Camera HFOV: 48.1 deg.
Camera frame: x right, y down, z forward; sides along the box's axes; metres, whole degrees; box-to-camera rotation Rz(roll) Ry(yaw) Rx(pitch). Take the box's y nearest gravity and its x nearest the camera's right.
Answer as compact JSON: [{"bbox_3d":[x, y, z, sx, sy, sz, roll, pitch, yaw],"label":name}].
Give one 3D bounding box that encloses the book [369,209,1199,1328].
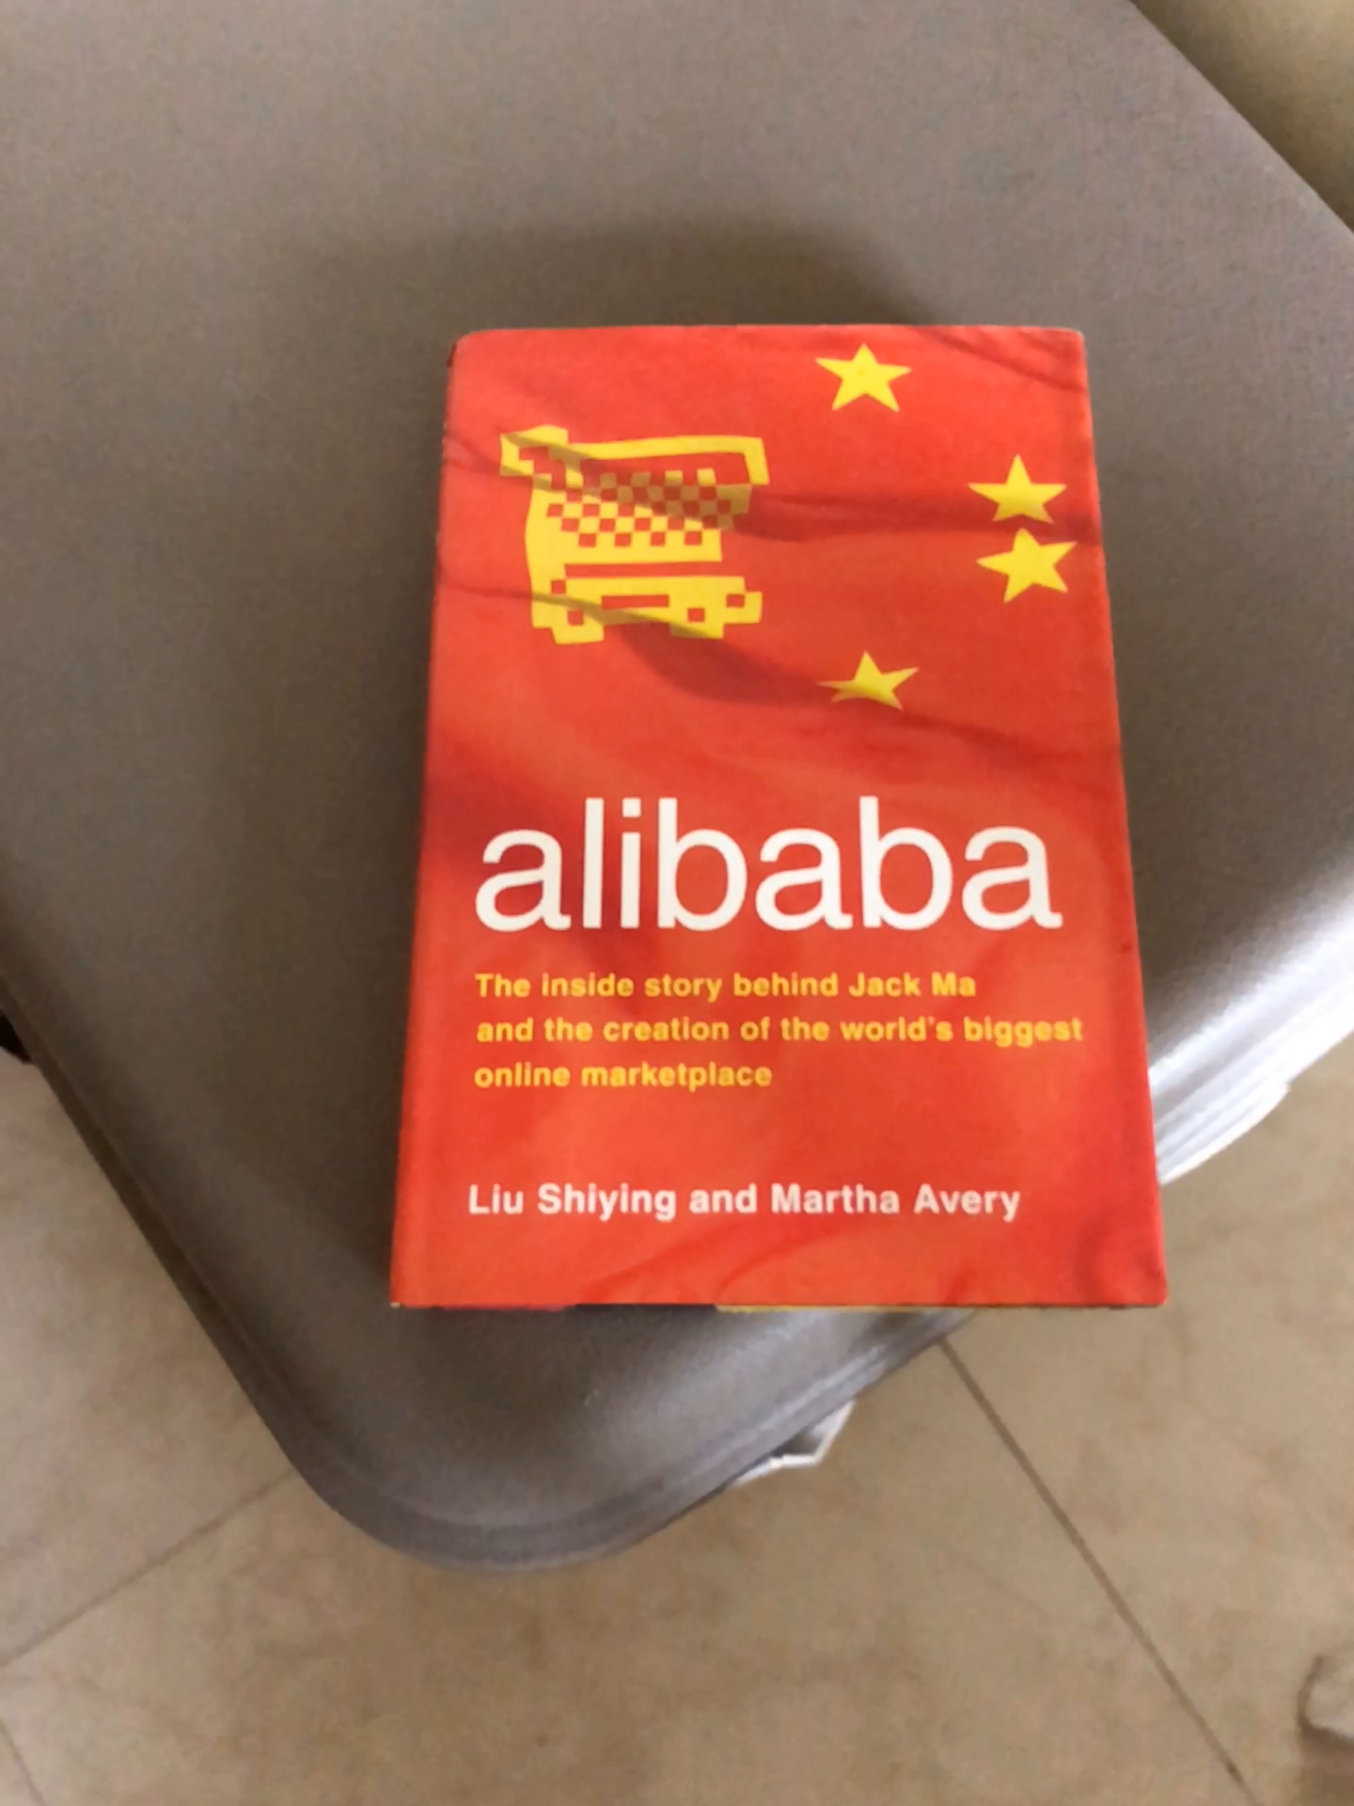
[{"bbox_3d":[0.018,-0.039,0.351,0.160,0.040,0.260,0,71,-4],"label":"book"}]
